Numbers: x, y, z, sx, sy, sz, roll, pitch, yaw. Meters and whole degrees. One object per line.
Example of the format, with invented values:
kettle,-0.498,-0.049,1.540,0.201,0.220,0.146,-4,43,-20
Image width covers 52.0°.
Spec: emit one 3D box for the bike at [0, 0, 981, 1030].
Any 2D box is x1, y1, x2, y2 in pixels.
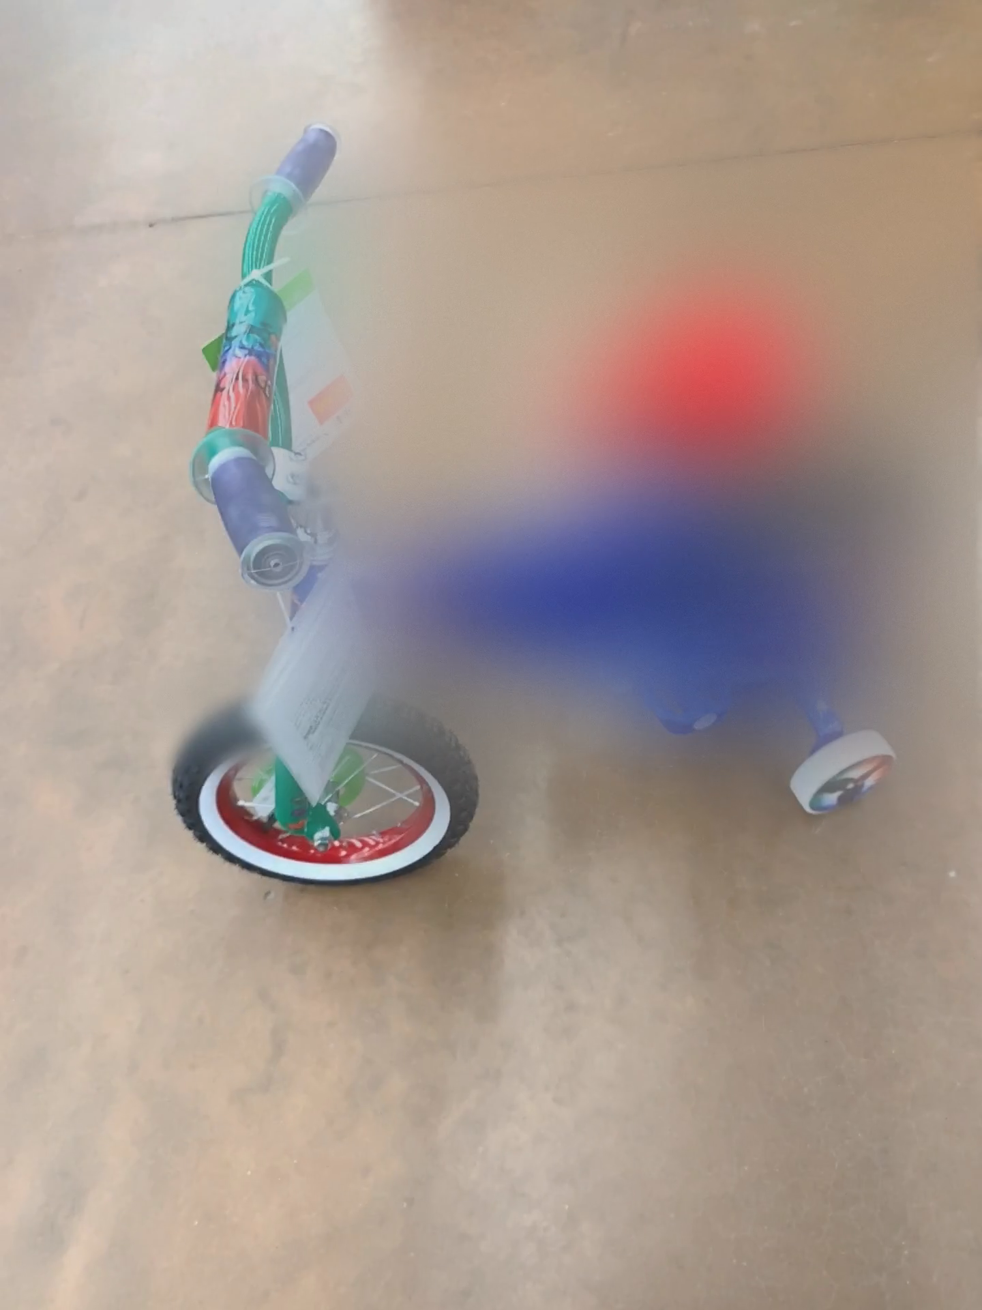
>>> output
bike,0.023,-0.115,0.889,0.775,0.670,0.461,-21,56,-5
